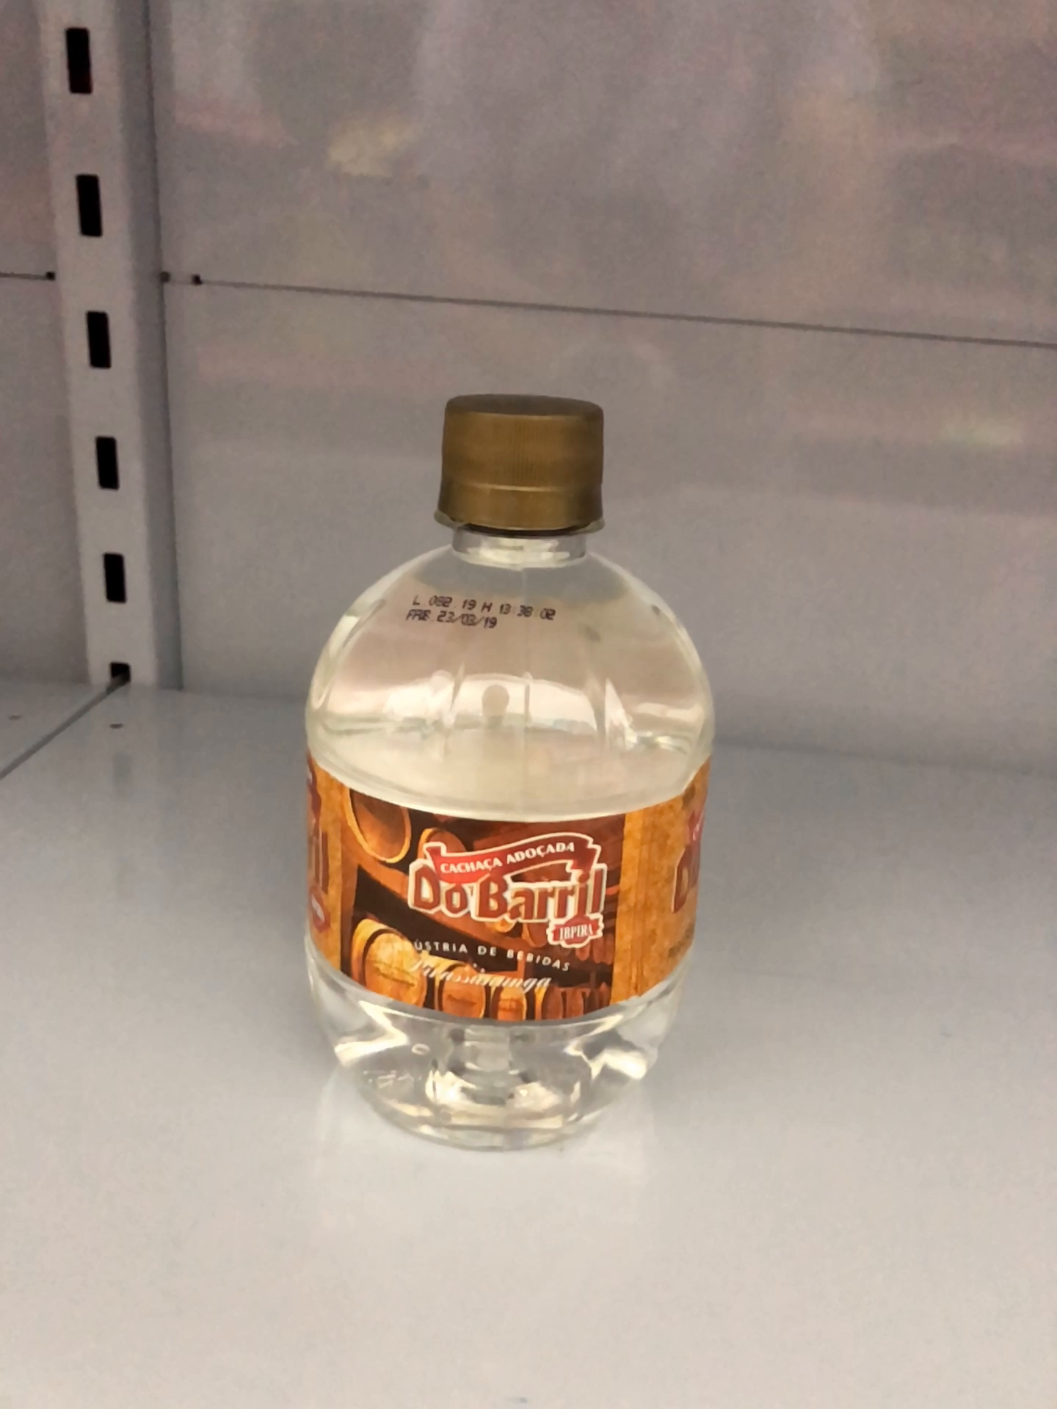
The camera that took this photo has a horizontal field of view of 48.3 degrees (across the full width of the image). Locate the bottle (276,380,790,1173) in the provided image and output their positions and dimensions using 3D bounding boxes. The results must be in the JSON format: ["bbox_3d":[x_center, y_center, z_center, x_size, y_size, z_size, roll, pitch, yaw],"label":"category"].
[{"bbox_3d":[-0.004,0.011,0.244,0.080,0.139,0.081,3,20,-1],"label":"bottle"}]
